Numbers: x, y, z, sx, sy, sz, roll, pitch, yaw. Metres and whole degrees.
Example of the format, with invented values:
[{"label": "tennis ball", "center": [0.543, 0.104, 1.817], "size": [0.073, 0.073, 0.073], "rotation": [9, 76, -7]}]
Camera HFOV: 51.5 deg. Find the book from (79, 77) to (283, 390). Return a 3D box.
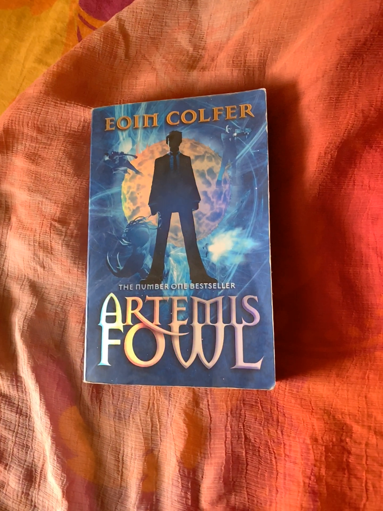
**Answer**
[{"label": "book", "center": [-0.008, -0.014, 0.268], "size": [0.130, 0.030, 0.190], "rotation": [-1, 85, 13]}]
